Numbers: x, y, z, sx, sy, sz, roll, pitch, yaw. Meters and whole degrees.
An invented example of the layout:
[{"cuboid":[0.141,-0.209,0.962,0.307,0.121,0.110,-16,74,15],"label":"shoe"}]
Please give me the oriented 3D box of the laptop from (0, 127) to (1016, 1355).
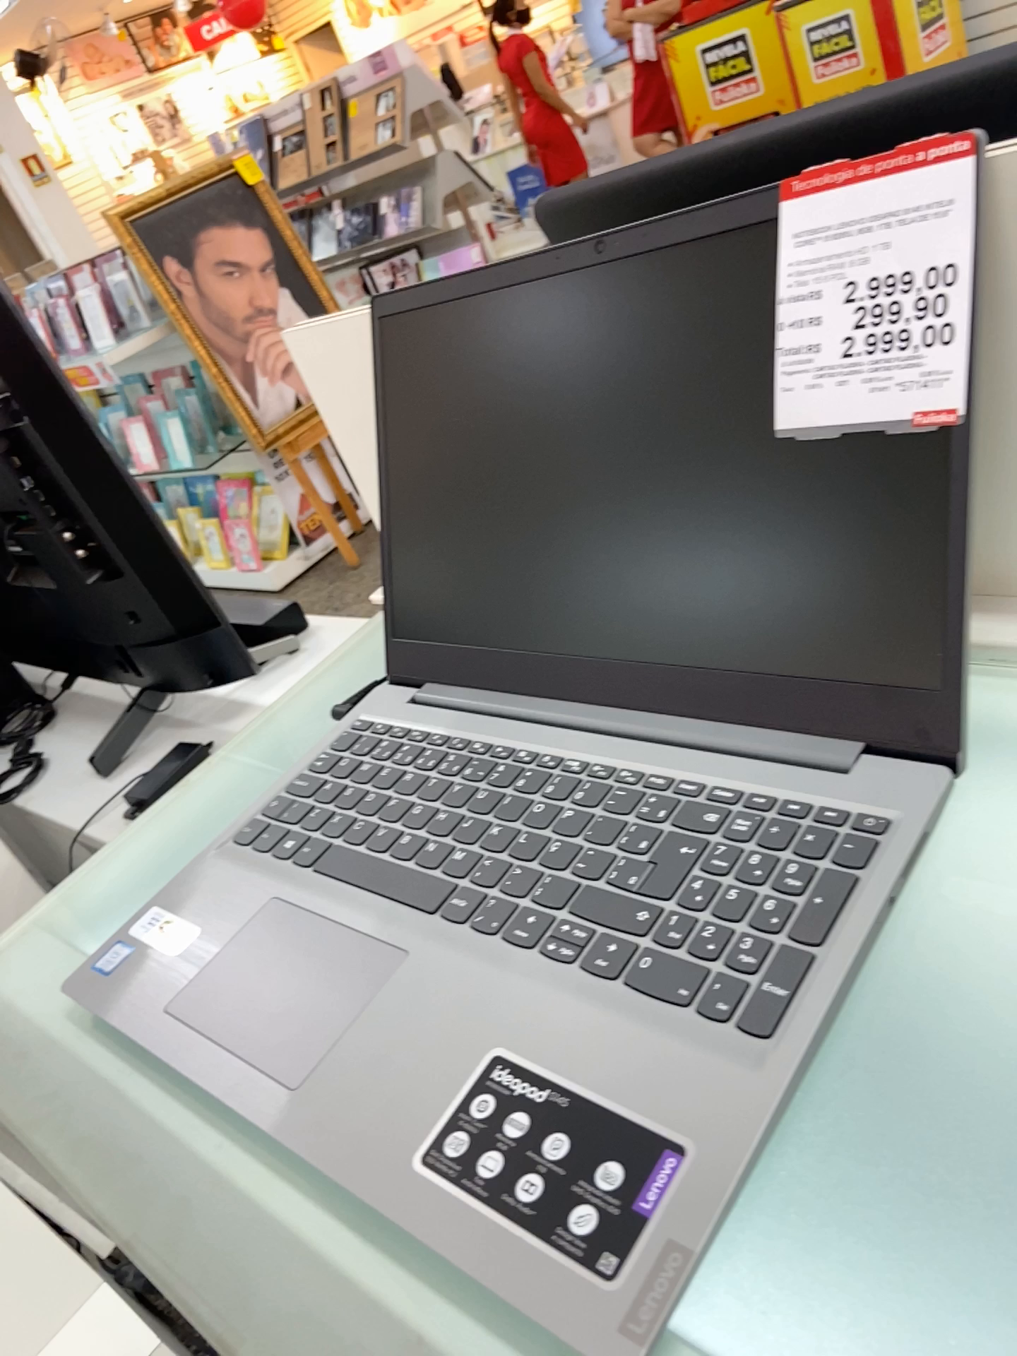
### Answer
[{"cuboid":[-0.027,-0.025,0.450,0.354,0.195,0.370,6,42,44],"label":"laptop"}]
